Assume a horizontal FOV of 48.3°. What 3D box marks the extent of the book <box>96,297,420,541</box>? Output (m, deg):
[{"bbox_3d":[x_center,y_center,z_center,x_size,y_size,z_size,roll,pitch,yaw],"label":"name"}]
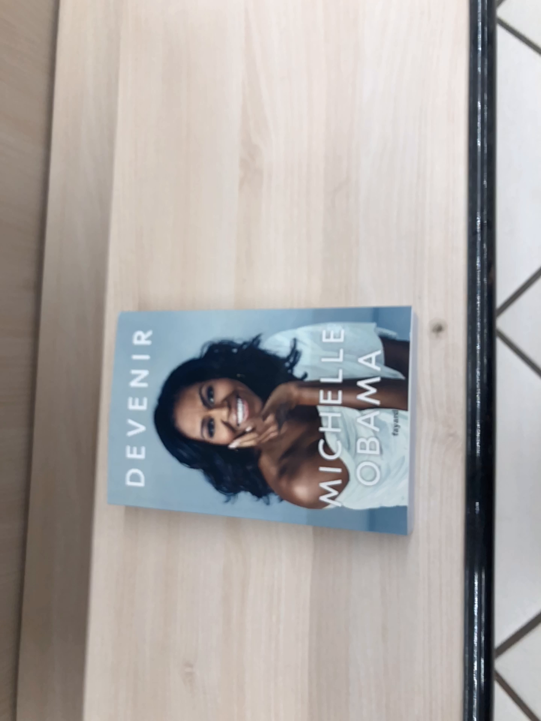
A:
[{"bbox_3d":[-0.013,0.038,0.459,0.240,0.040,0.163,1,85,18],"label":"book"}]
